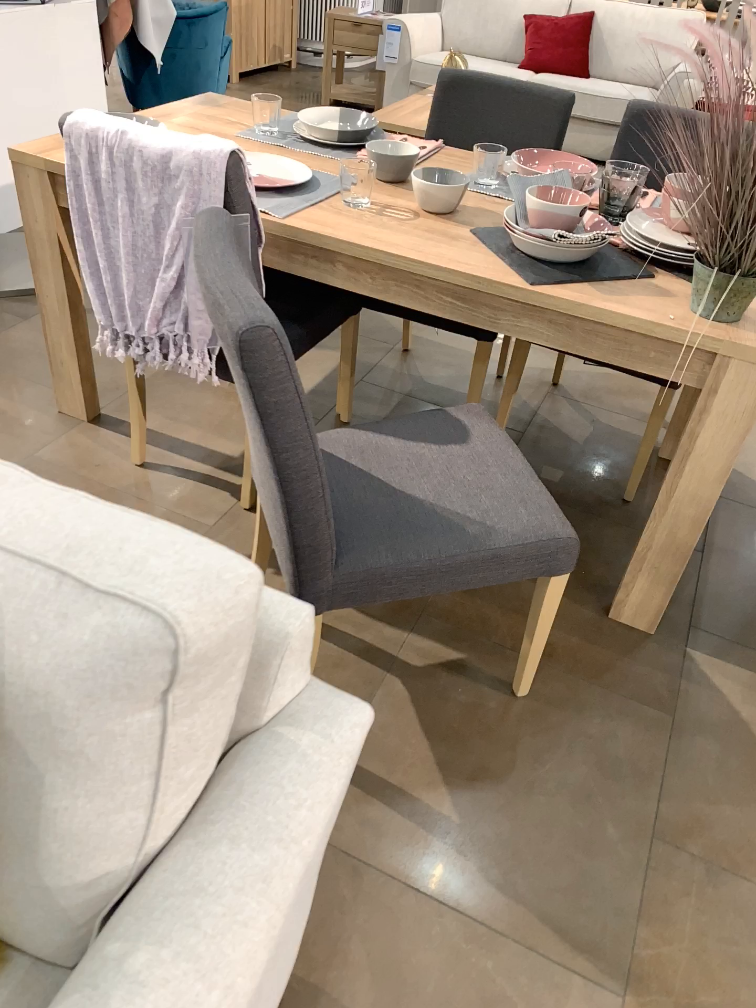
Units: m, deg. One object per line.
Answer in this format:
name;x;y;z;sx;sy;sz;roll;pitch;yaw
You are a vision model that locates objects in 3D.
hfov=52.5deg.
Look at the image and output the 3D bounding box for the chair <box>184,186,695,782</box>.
chair;0.011;-0.029;1.384;0.614;0.889;0.510;-5;40;-15
